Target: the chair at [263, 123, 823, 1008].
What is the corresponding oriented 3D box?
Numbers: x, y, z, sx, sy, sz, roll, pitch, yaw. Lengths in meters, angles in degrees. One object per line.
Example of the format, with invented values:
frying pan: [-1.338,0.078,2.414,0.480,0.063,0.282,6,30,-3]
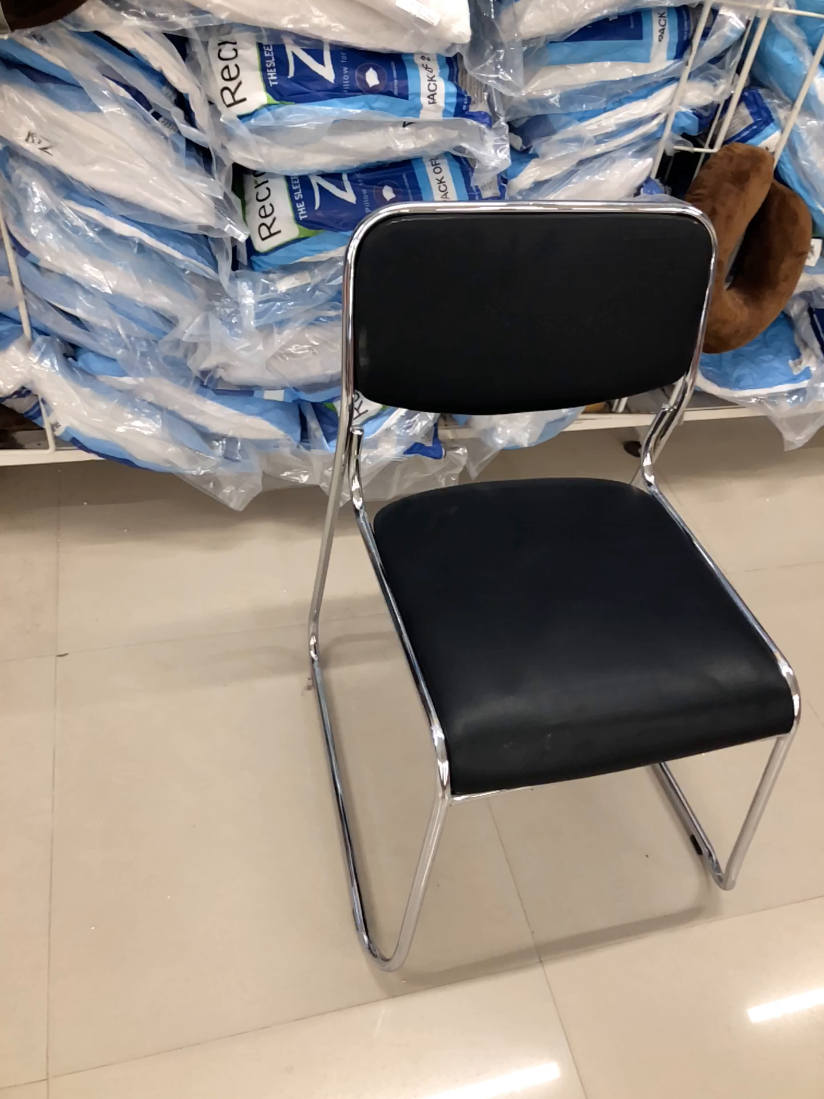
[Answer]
chair: [0.161,0.039,1.050,0.571,0.794,0.563,-5,47,-16]
